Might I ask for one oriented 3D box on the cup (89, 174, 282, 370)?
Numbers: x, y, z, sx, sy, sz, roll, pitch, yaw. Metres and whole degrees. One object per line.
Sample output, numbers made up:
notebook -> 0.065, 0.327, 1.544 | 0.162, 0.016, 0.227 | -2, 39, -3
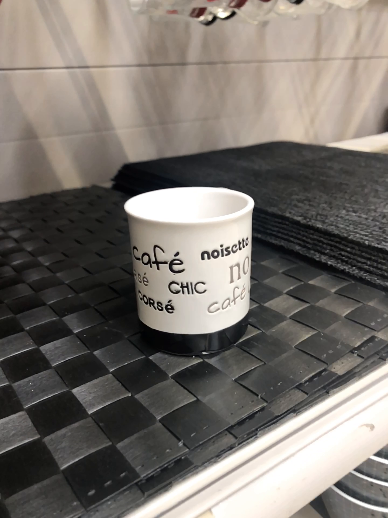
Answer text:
cup -> 0.003, -0.002, 0.234 | 0.067, 0.066, 0.093 | 7, 25, 21
